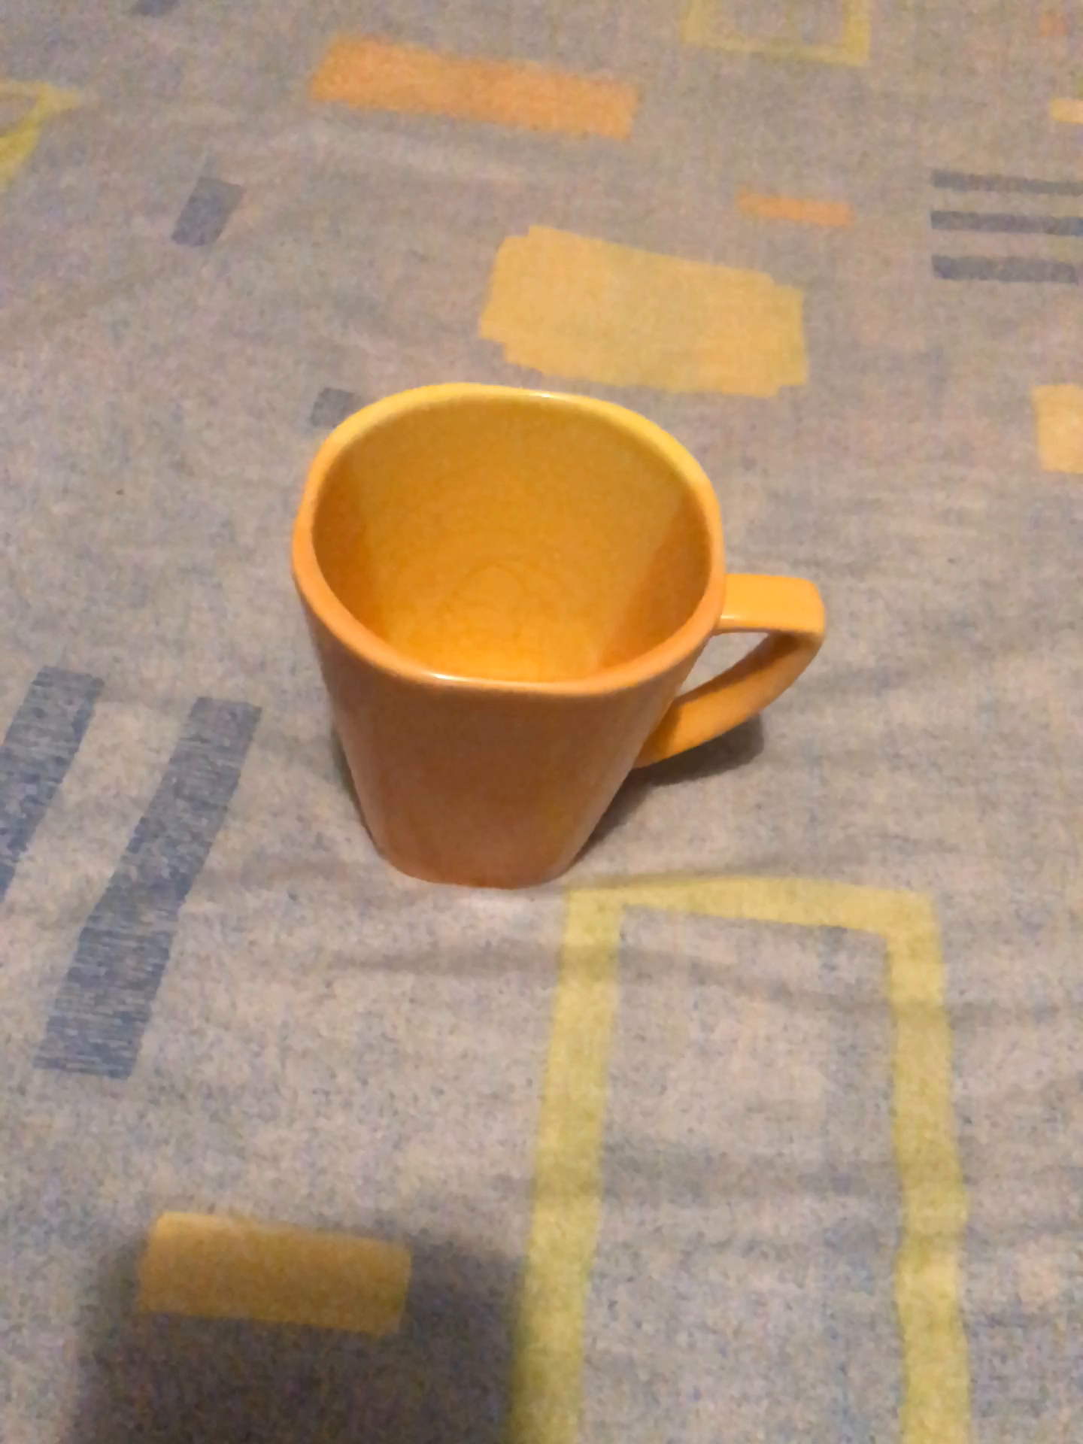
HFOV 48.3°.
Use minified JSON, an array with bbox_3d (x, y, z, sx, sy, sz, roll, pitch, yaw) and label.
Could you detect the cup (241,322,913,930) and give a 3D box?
[{"bbox_3d":[0.004,-0.017,0.256,0.111,0.082,0.084,6,54,-3],"label":"cup"}]
